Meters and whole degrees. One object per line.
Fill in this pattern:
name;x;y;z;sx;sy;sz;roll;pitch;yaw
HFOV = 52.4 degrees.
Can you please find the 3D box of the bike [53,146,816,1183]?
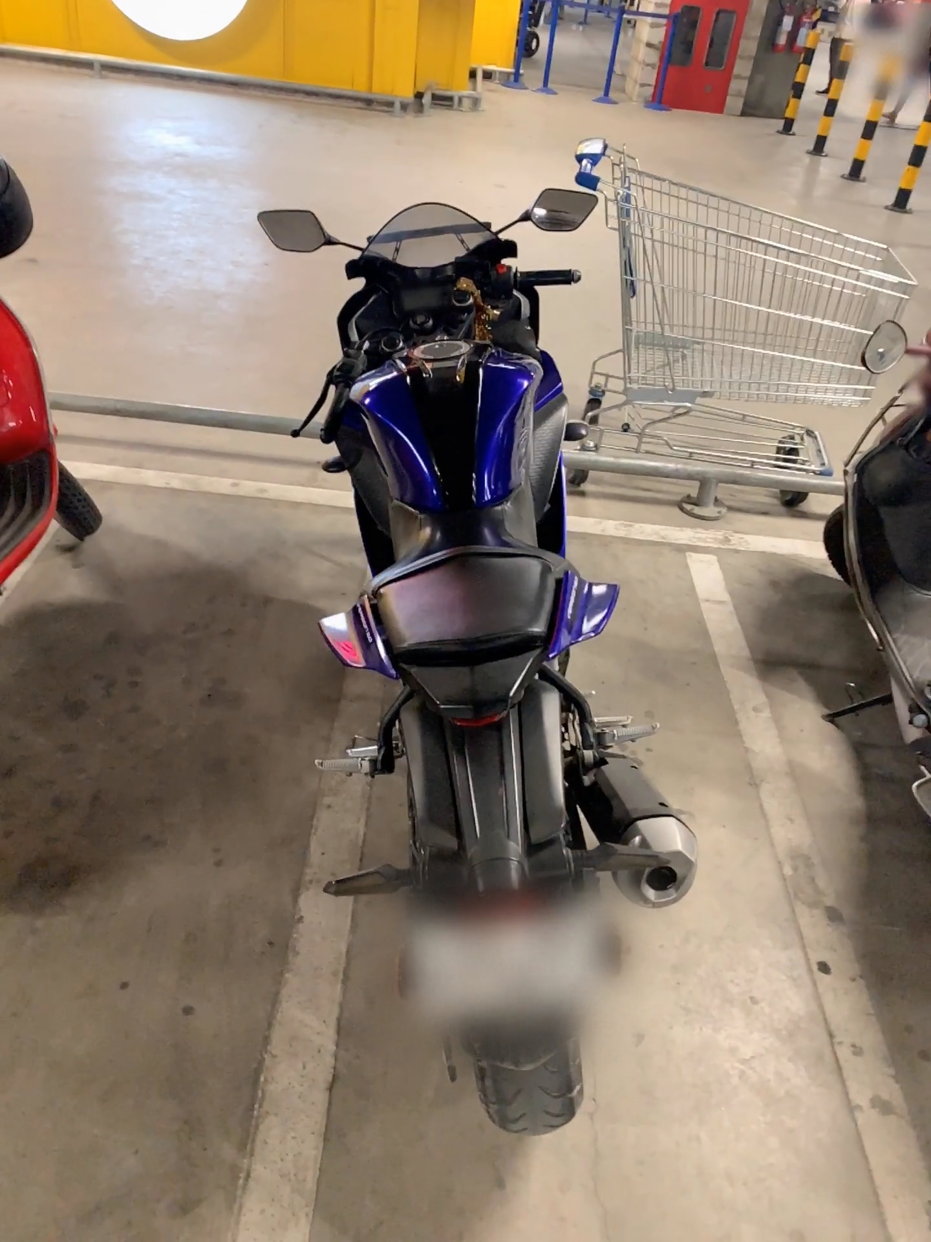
bike;-0.257;-0.084;1.733;0.687;0.933;1.656;-3;40;-14
